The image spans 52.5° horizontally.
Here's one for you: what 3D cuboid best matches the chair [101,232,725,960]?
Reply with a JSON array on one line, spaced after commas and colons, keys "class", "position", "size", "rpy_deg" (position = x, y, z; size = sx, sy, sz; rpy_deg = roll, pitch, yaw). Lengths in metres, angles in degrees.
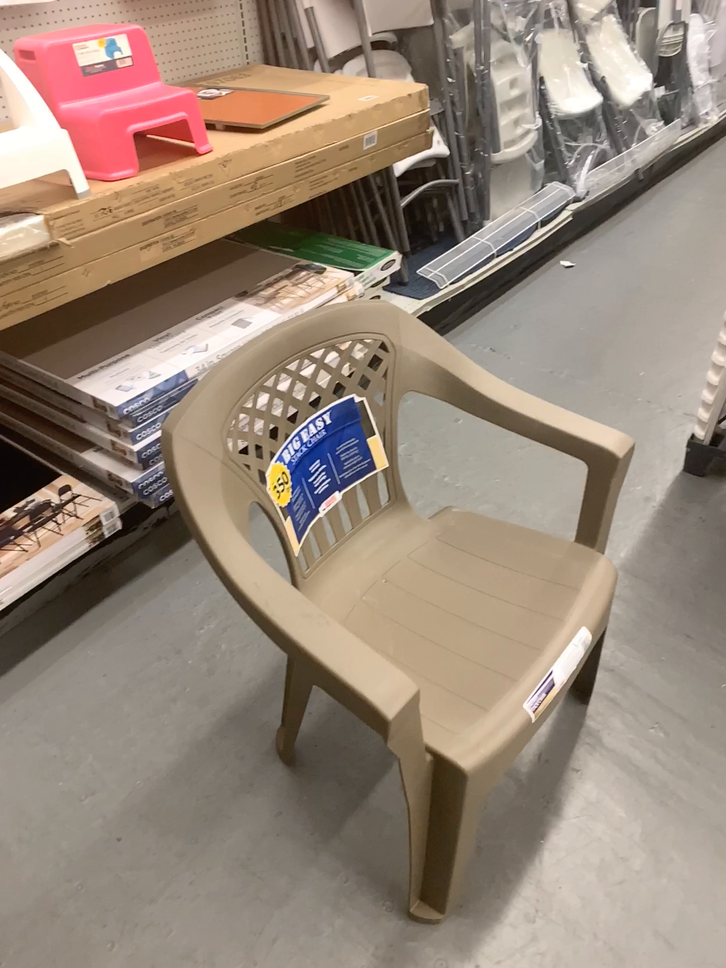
[{"class": "chair", "position": [0.134, 0.149, 1.338], "size": [0.588, 0.878, 0.769], "rpy_deg": [26, 46, 32]}]
